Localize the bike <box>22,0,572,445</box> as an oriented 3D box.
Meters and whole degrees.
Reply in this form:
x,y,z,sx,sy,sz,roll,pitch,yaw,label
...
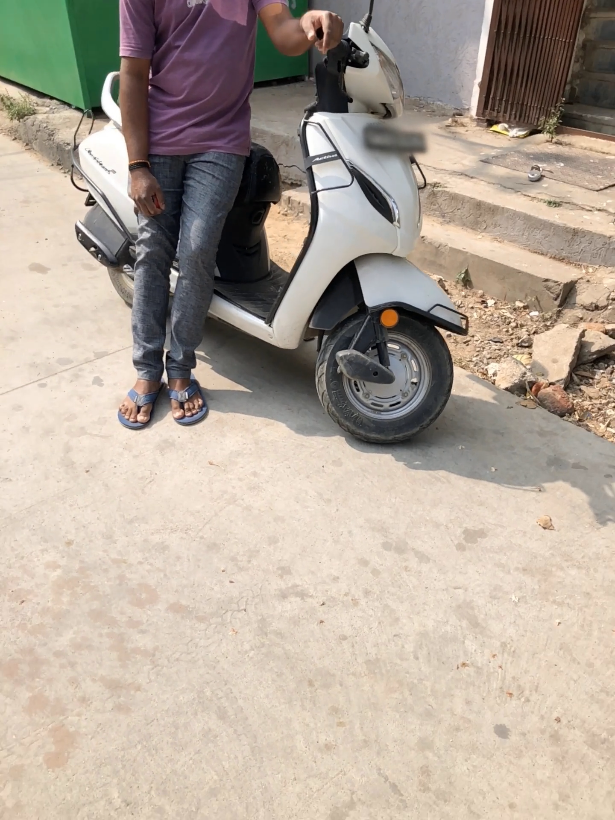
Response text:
x,y,z,sx,sy,sz,roll,pitch,yaw,label
-0.096,-0.729,2.276,1.521,1.007,0.651,24,40,29,bike
